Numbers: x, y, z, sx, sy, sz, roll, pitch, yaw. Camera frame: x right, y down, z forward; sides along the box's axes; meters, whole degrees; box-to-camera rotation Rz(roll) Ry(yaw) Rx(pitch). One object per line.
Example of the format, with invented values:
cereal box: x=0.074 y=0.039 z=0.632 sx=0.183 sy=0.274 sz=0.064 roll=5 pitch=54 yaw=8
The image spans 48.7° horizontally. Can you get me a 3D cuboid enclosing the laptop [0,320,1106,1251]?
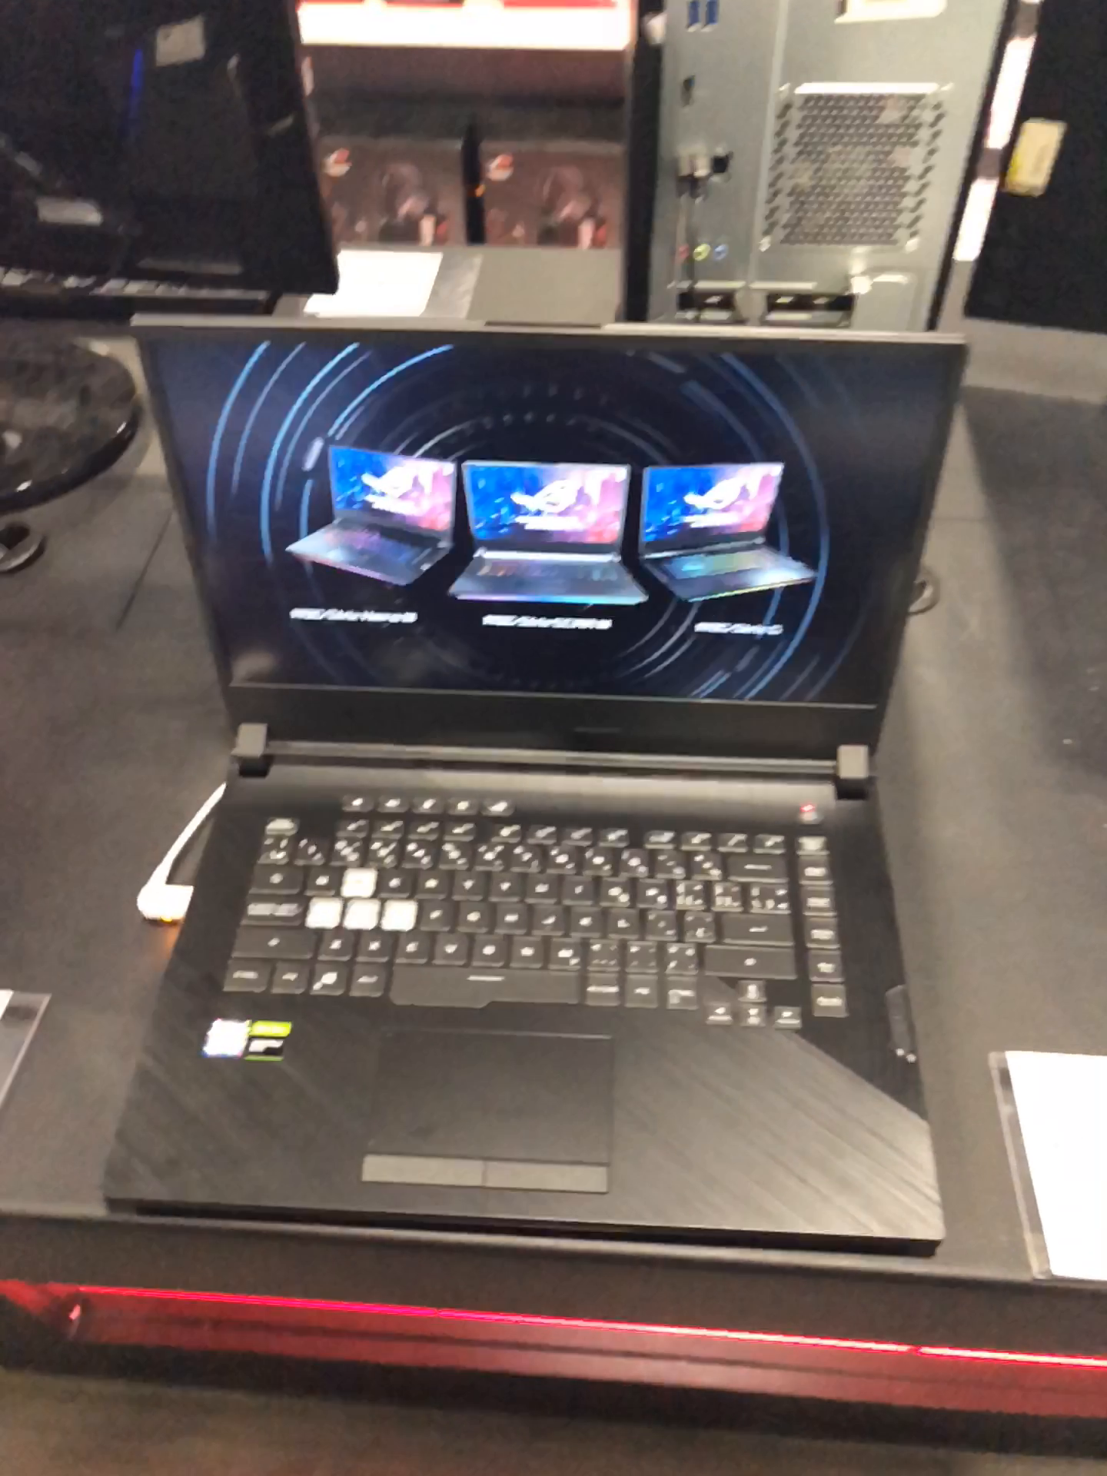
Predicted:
laptop: x=-0.011 y=0.015 z=0.509 sx=0.350 sy=0.243 sz=0.281 roll=2 pitch=48 yaw=2
